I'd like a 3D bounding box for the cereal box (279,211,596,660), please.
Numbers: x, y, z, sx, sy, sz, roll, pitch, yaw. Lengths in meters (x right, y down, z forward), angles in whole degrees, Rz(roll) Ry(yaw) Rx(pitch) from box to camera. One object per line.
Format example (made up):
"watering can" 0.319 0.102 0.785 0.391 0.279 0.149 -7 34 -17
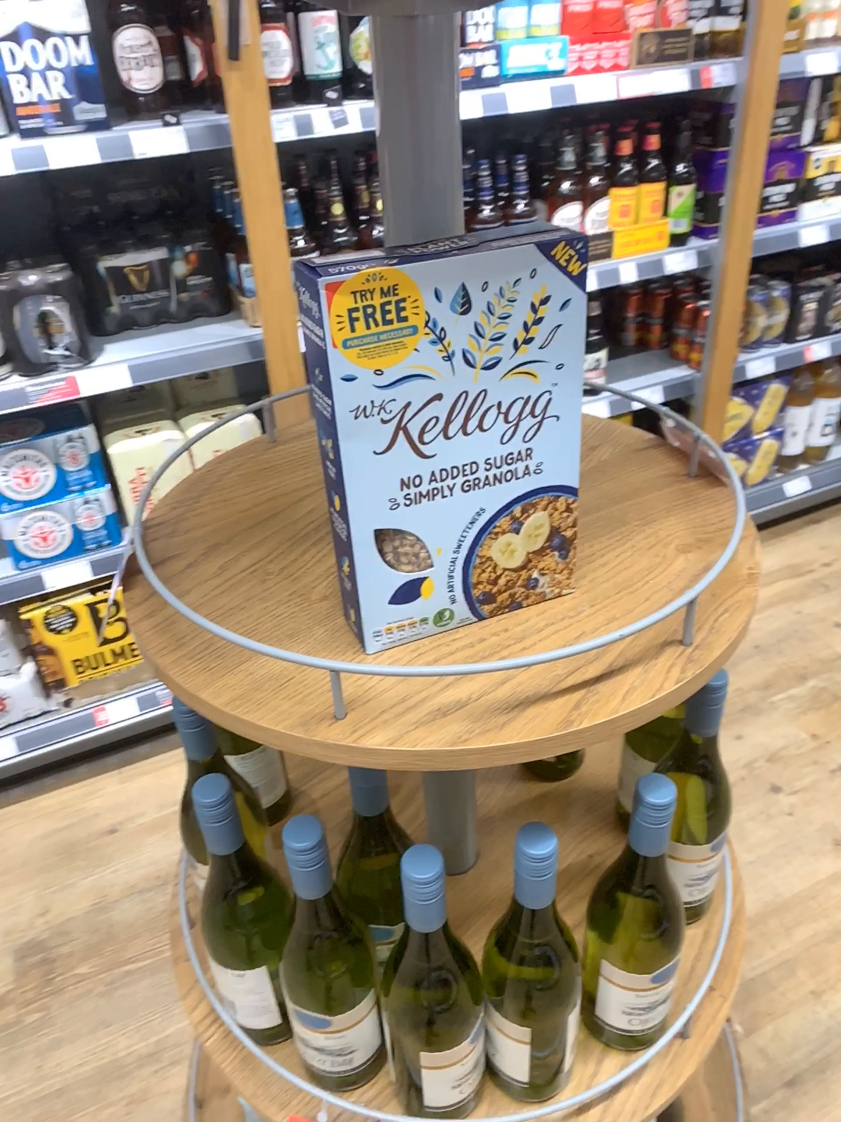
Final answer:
"cereal box" 0.018 -0.074 0.543 0.170 0.248 0.050 -15 33 -17
